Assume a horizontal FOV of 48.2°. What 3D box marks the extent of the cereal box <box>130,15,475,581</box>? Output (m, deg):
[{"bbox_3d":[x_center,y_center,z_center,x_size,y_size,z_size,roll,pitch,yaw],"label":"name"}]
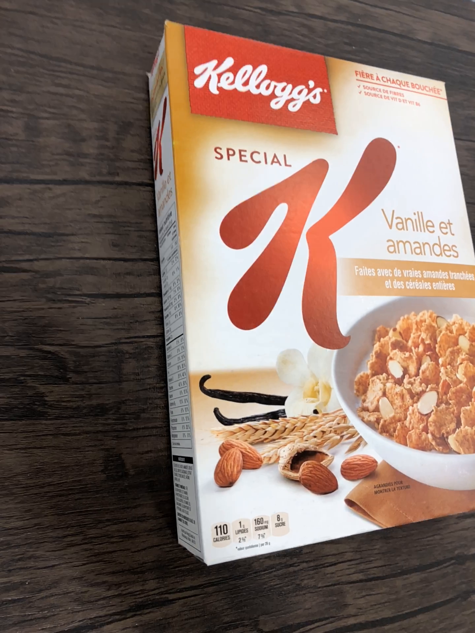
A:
[{"bbox_3d":[0.048,-0.015,0.314,0.201,0.060,0.270,0,80,-23],"label":"cereal box"}]
